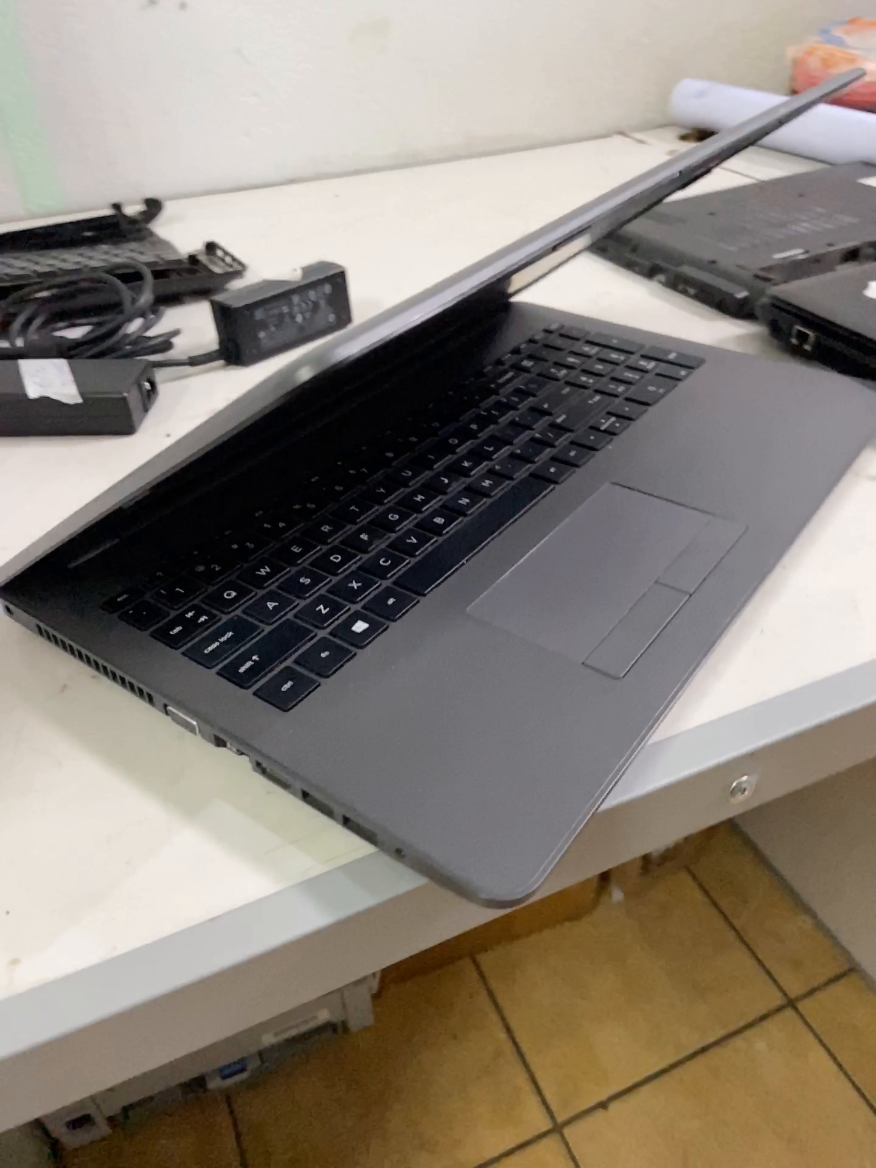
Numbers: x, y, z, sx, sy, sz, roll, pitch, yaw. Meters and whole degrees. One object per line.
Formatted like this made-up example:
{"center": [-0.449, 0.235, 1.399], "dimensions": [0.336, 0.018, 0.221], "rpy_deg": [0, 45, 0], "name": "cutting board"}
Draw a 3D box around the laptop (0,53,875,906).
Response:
{"center": [0.033, -0.108, 0.379], "dimensions": [0.248, 0.141, 0.381], "rpy_deg": [23, 45, 29], "name": "laptop"}
